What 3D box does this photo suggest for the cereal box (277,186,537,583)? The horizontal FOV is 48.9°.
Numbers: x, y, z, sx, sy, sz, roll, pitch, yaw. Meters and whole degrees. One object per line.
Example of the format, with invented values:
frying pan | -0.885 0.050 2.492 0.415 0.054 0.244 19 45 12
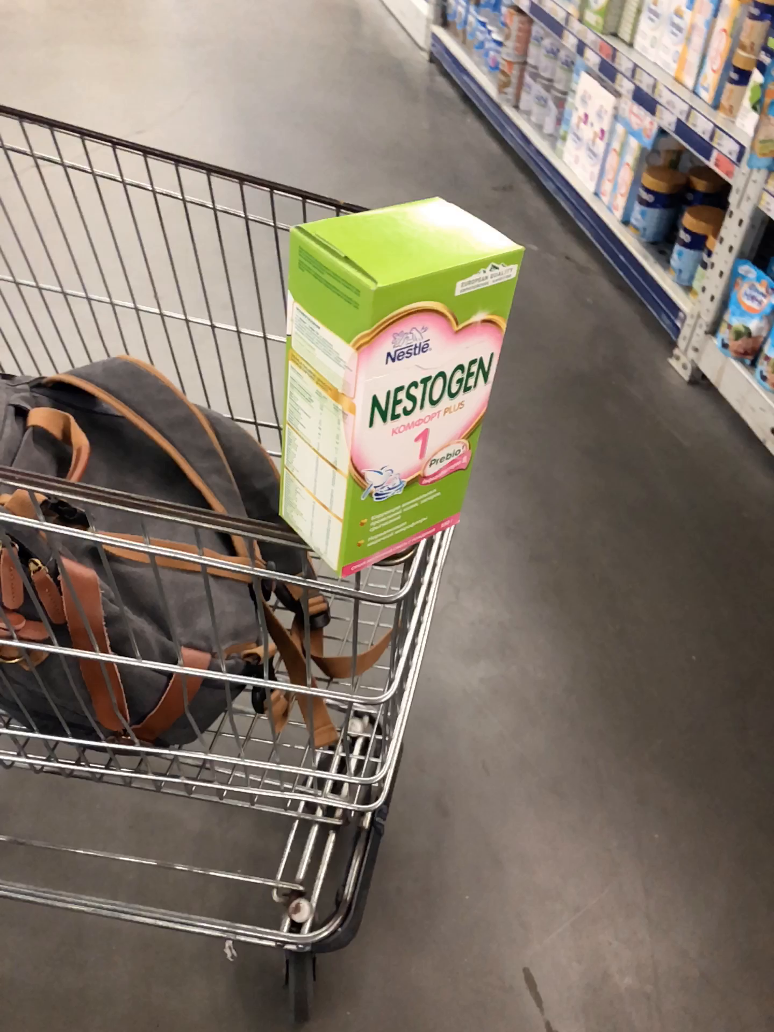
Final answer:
cereal box | 0.003 -0.069 0.474 0.100 0.189 0.070 -25 51 -32
